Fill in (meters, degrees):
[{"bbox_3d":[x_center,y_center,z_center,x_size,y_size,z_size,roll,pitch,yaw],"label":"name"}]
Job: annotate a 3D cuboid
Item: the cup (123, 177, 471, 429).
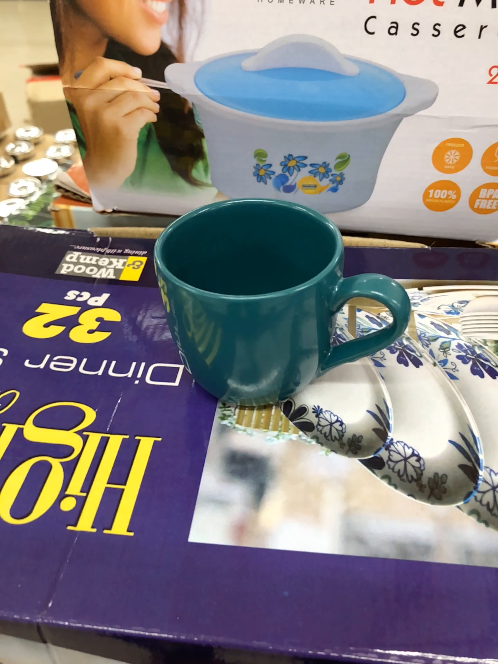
[{"bbox_3d":[0.015,-0.012,0.183,0.090,0.050,0.060,4,41,5],"label":"cup"}]
